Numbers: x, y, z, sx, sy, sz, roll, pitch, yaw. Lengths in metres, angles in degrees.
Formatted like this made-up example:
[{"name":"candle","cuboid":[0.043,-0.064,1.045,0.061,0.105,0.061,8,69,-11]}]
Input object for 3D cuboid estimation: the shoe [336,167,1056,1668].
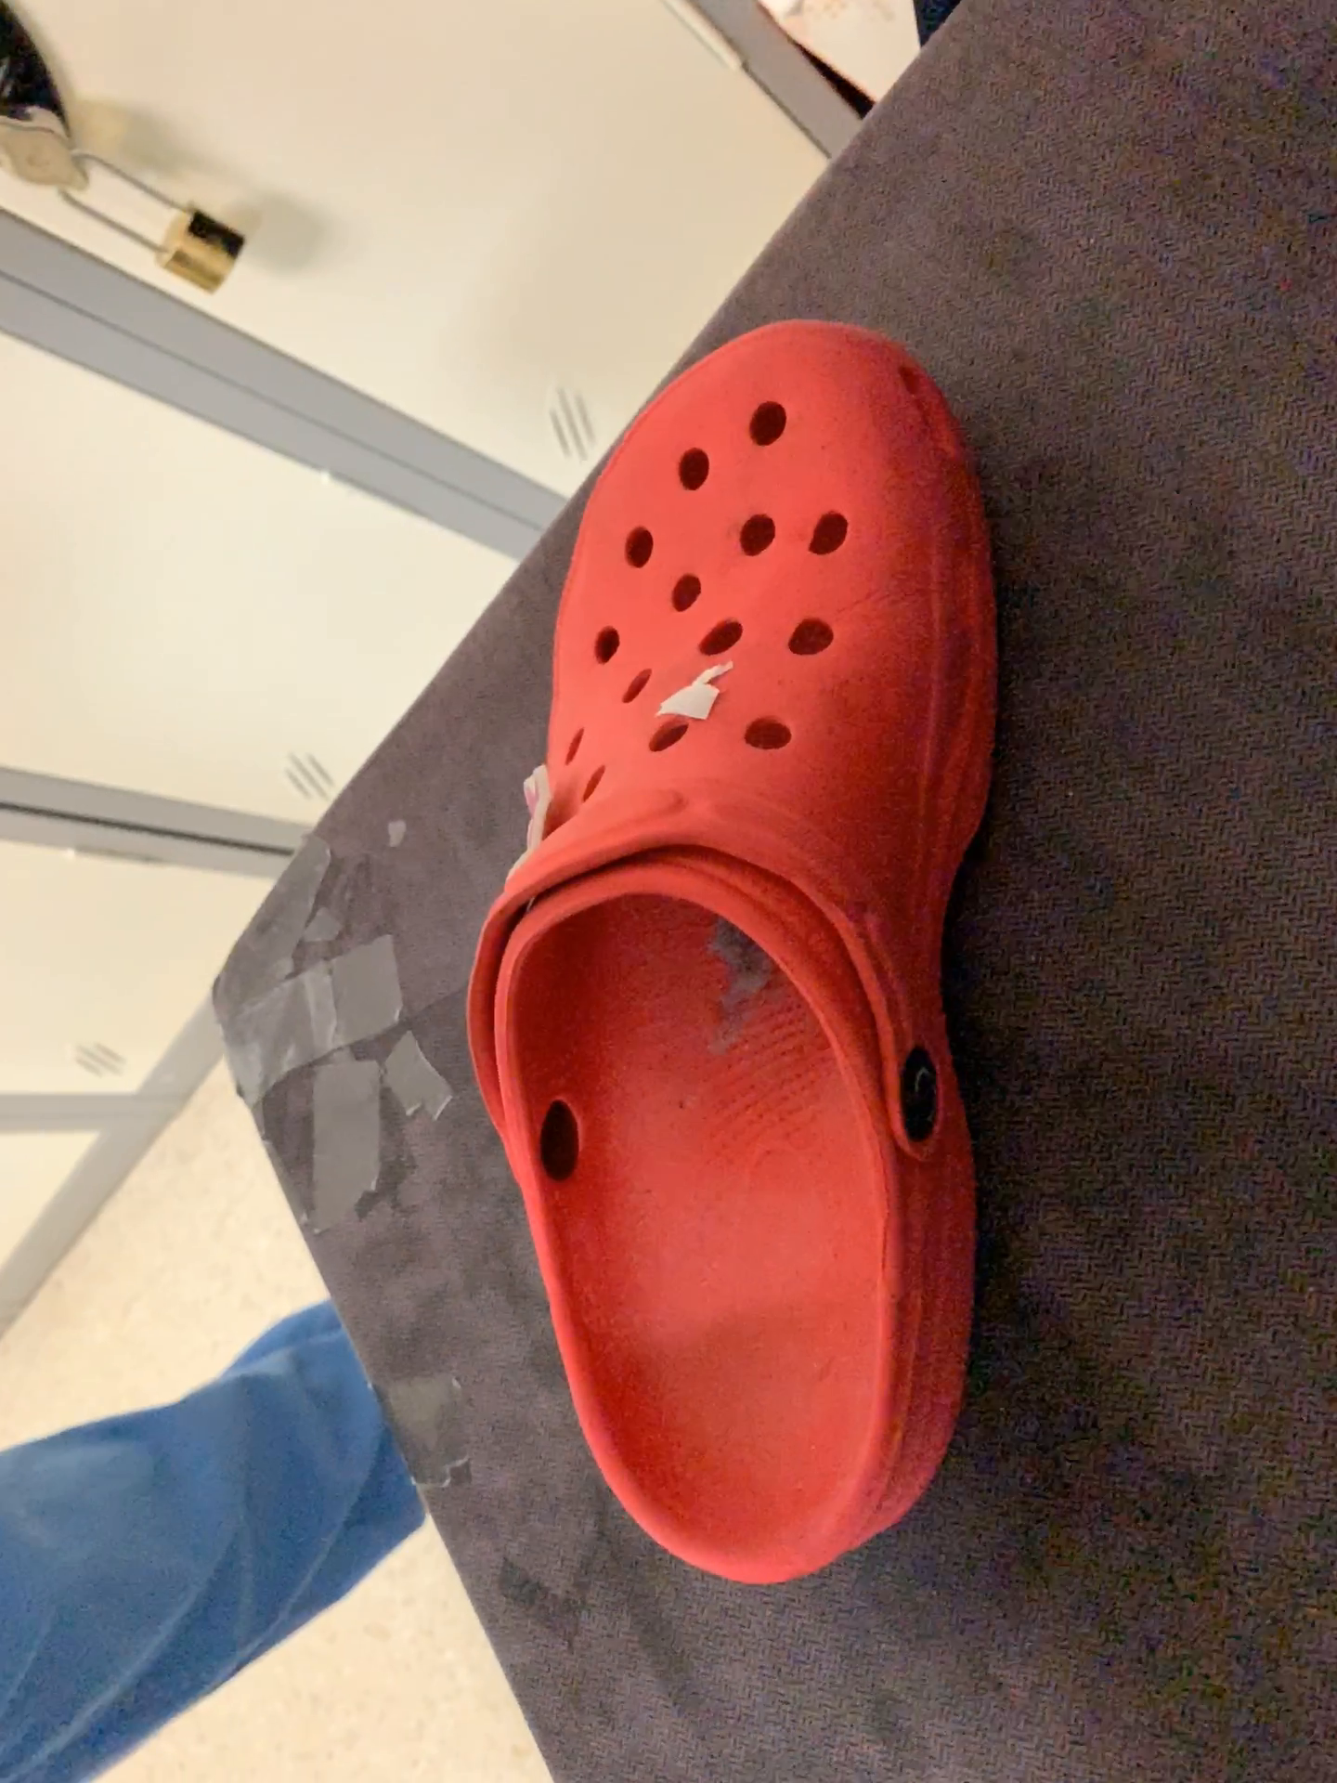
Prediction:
[{"name":"shoe","cuboid":[0.007,0.004,0.250,0.092,0.081,0.208,-6,79,37]}]
